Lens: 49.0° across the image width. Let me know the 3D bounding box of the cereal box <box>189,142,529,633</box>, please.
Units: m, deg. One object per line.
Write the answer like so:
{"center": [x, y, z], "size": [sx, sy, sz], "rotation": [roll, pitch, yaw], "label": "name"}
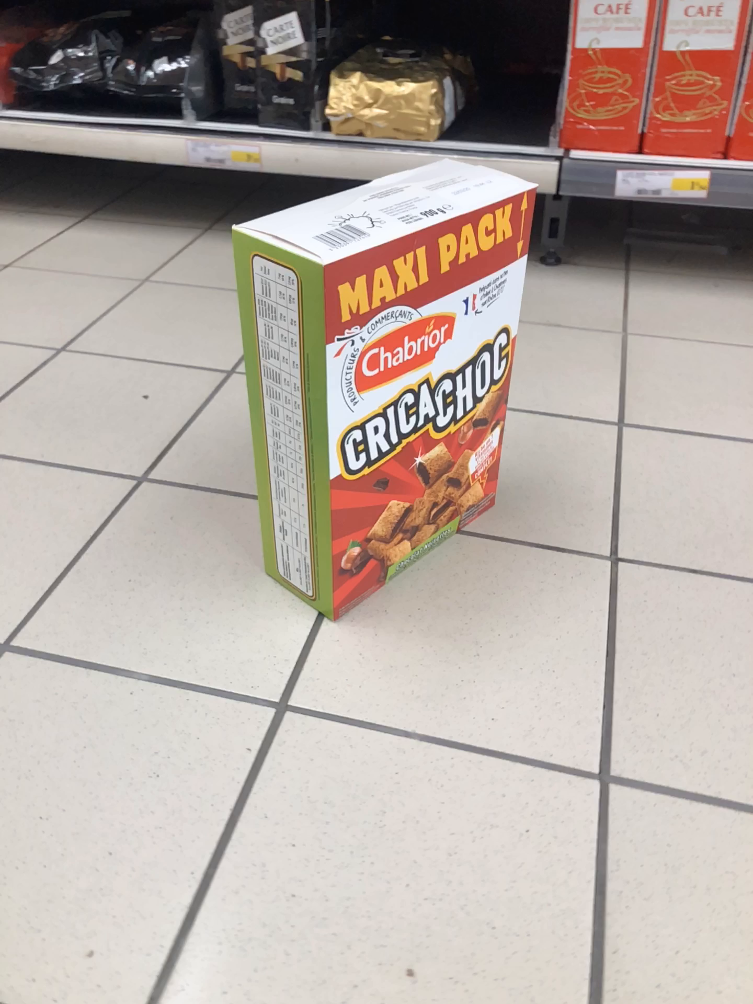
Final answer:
{"center": [-0.003, -0.078, 0.563], "size": [0.080, 0.268, 0.201], "rotation": [30, 46, 35], "label": "cereal box"}
